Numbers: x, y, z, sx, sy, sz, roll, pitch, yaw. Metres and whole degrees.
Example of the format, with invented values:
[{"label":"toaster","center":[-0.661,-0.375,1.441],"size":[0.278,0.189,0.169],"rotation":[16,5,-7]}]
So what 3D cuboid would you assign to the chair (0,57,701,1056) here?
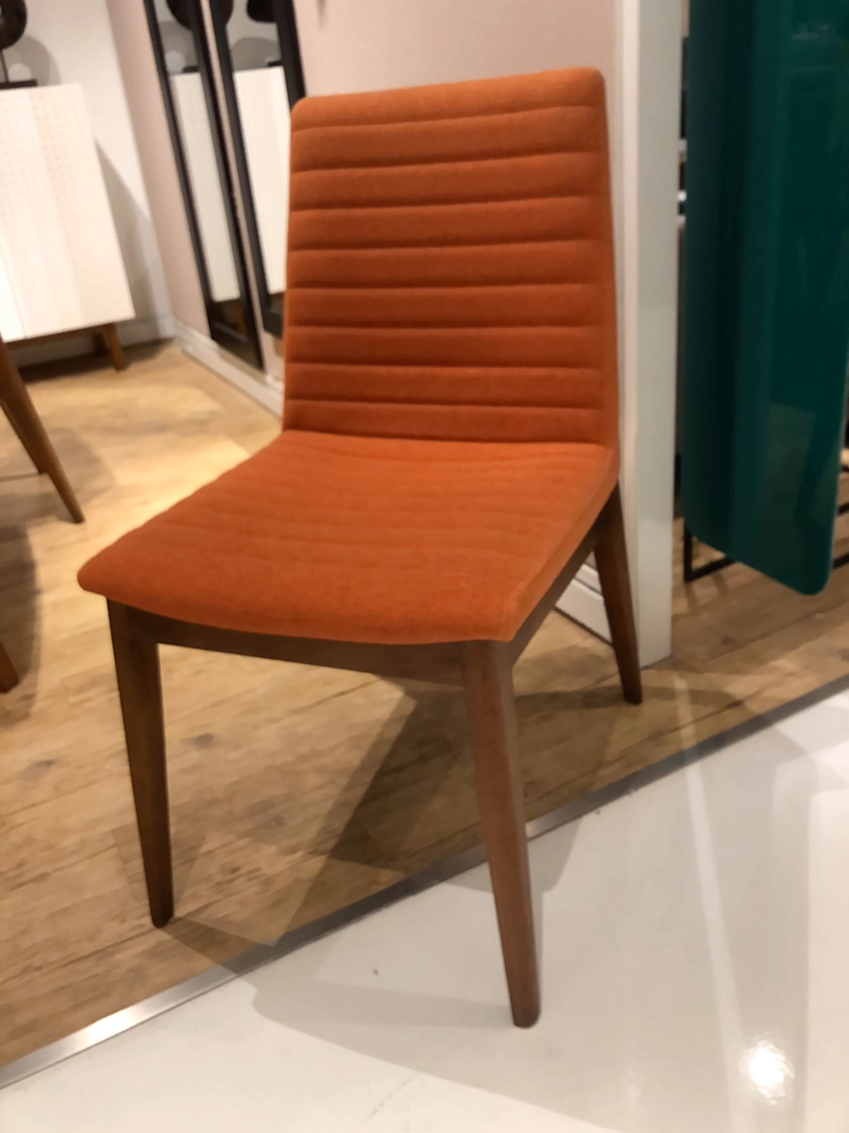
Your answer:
[{"label":"chair","center":[-0.019,-0.077,1.054],"size":[0.530,0.814,0.634],"rotation":[5,28,22]}]
